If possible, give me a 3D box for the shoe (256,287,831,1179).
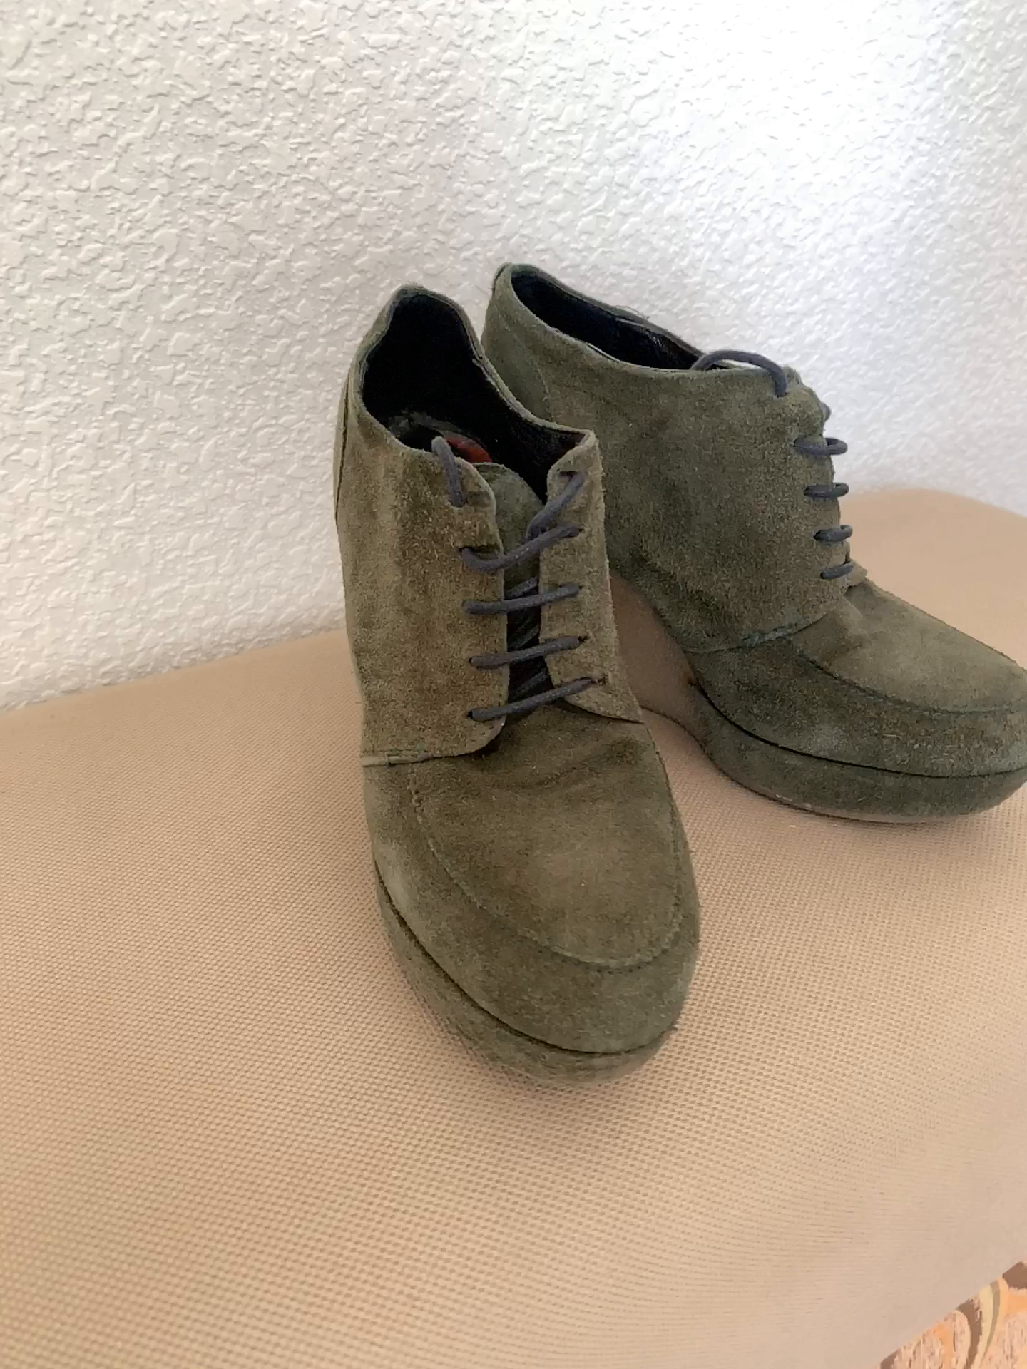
[{"bbox_3d":[-0.016,-0.012,0.305,0.086,0.136,0.230,-7,36,-12],"label":"shoe"}]

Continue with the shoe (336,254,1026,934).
[{"bbox_3d":[0.061,-0.051,0.382,0.271,0.139,0.081,28,43,32],"label":"shoe"}]
